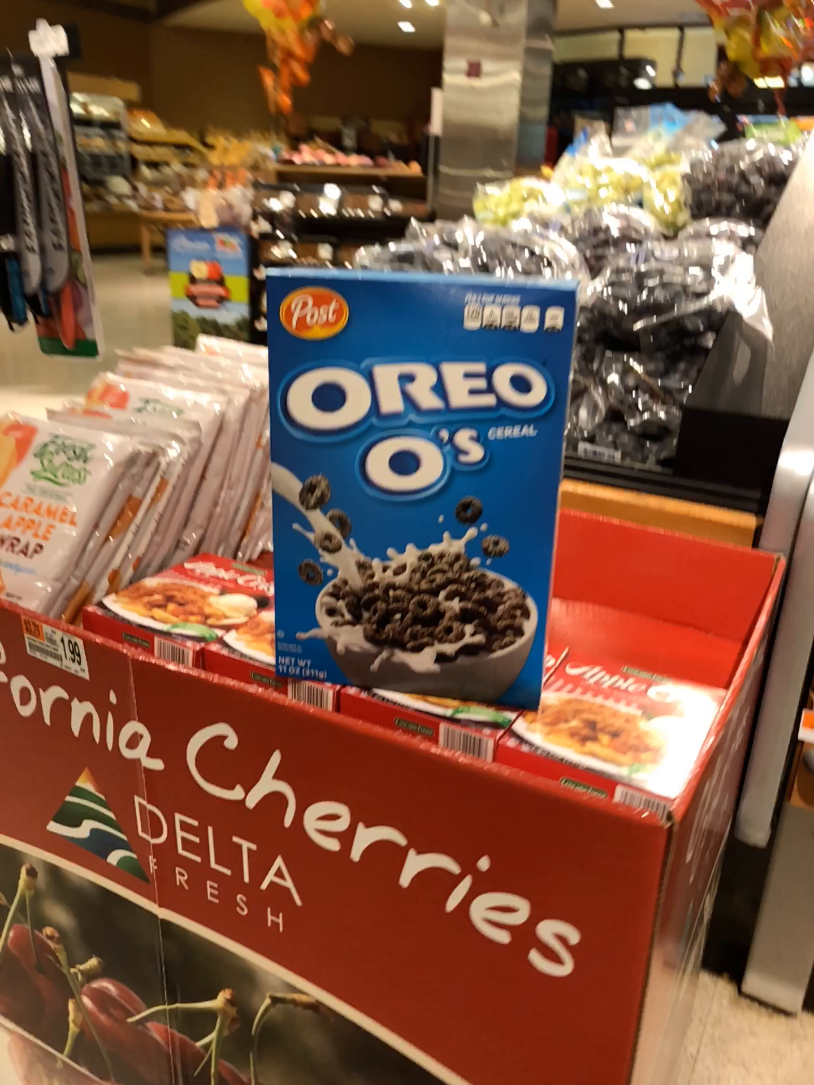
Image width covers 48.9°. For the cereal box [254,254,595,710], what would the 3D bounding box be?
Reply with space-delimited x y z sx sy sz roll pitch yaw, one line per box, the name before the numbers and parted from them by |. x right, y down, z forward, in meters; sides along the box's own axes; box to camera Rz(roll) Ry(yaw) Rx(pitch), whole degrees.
cereal box | 0.010 -0.041 0.595 0.200 0.278 0.070 5 20 10
